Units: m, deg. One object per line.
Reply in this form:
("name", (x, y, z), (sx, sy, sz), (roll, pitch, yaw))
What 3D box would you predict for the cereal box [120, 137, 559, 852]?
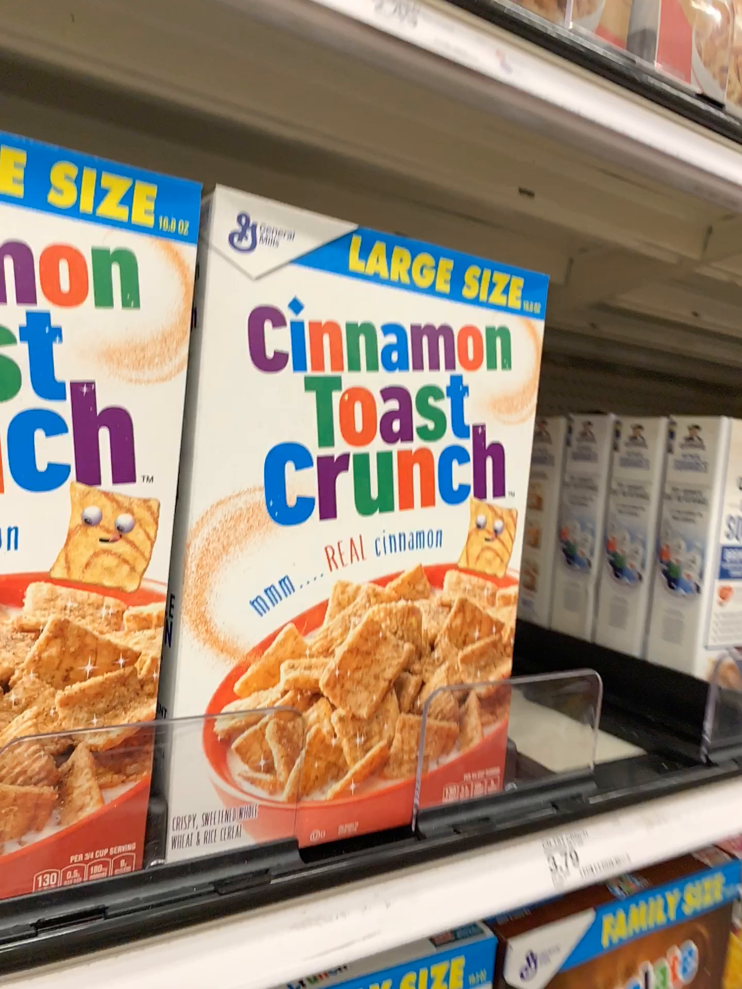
("cereal box", (-0.012, 0.004, 0.391), (0.190, 0.290, 0.070), (3, 3, -32))
